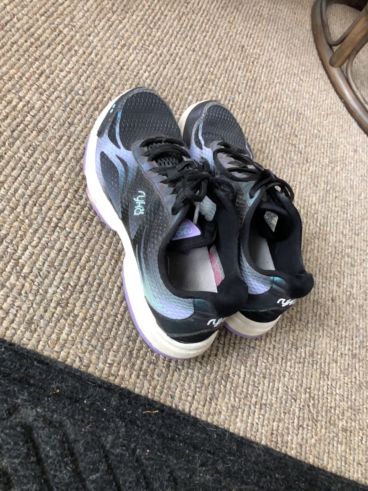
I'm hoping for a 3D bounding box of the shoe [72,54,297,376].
[{"bbox_3d":[-0.011,-0.028,0.382,0.111,0.103,0.256,-3,69,-37],"label":"shoe"}]

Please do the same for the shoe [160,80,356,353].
[{"bbox_3d":[0.068,-0.030,0.441,0.103,0.103,0.257,1,66,-35],"label":"shoe"}]
